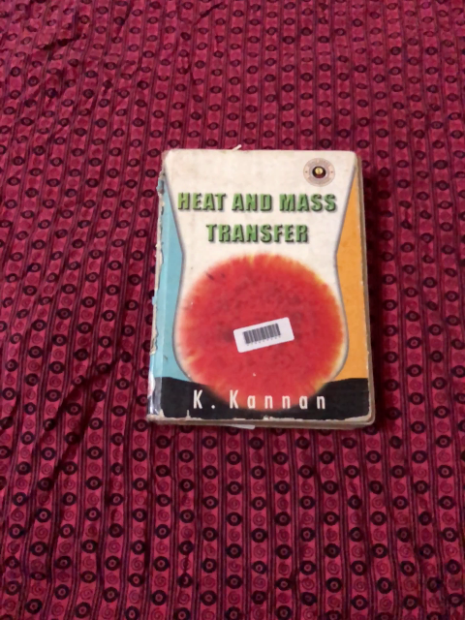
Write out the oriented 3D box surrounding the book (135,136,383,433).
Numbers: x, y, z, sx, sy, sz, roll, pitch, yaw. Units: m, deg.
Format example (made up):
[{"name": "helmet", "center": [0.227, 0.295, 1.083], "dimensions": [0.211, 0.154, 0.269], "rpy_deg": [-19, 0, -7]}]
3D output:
[{"name": "book", "center": [0.023, -0.027, 0.442], "dimensions": [0.185, 0.040, 0.250], "rpy_deg": [1, 73, 1]}]
